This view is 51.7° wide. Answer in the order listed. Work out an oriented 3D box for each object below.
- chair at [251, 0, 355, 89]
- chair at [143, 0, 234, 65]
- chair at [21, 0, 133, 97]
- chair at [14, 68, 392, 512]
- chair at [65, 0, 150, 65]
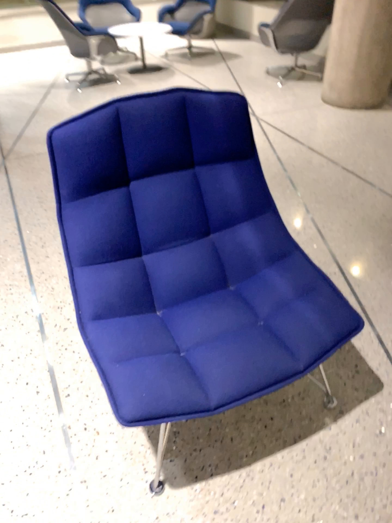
[{"bbox_3d":[1.061,-2.465,4.252,0.641,0.961,0.776,-13,41,-12],"label":"chair"},{"bbox_3d":[-0.082,-3.152,5.109,0.763,0.971,0.784,-28,46,-28],"label":"chair"},{"bbox_3d":[-1.223,-2.382,4.228,0.772,0.932,0.805,-20,42,-20],"label":"chair"},{"bbox_3d":[0.026,0.030,1.293,0.809,0.932,0.786,-18,41,-18],"label":"chair"},{"bbox_3d":[-1.080,-3.071,4.996,0.671,0.942,0.775,-19,42,-19],"label":"chair"}]
